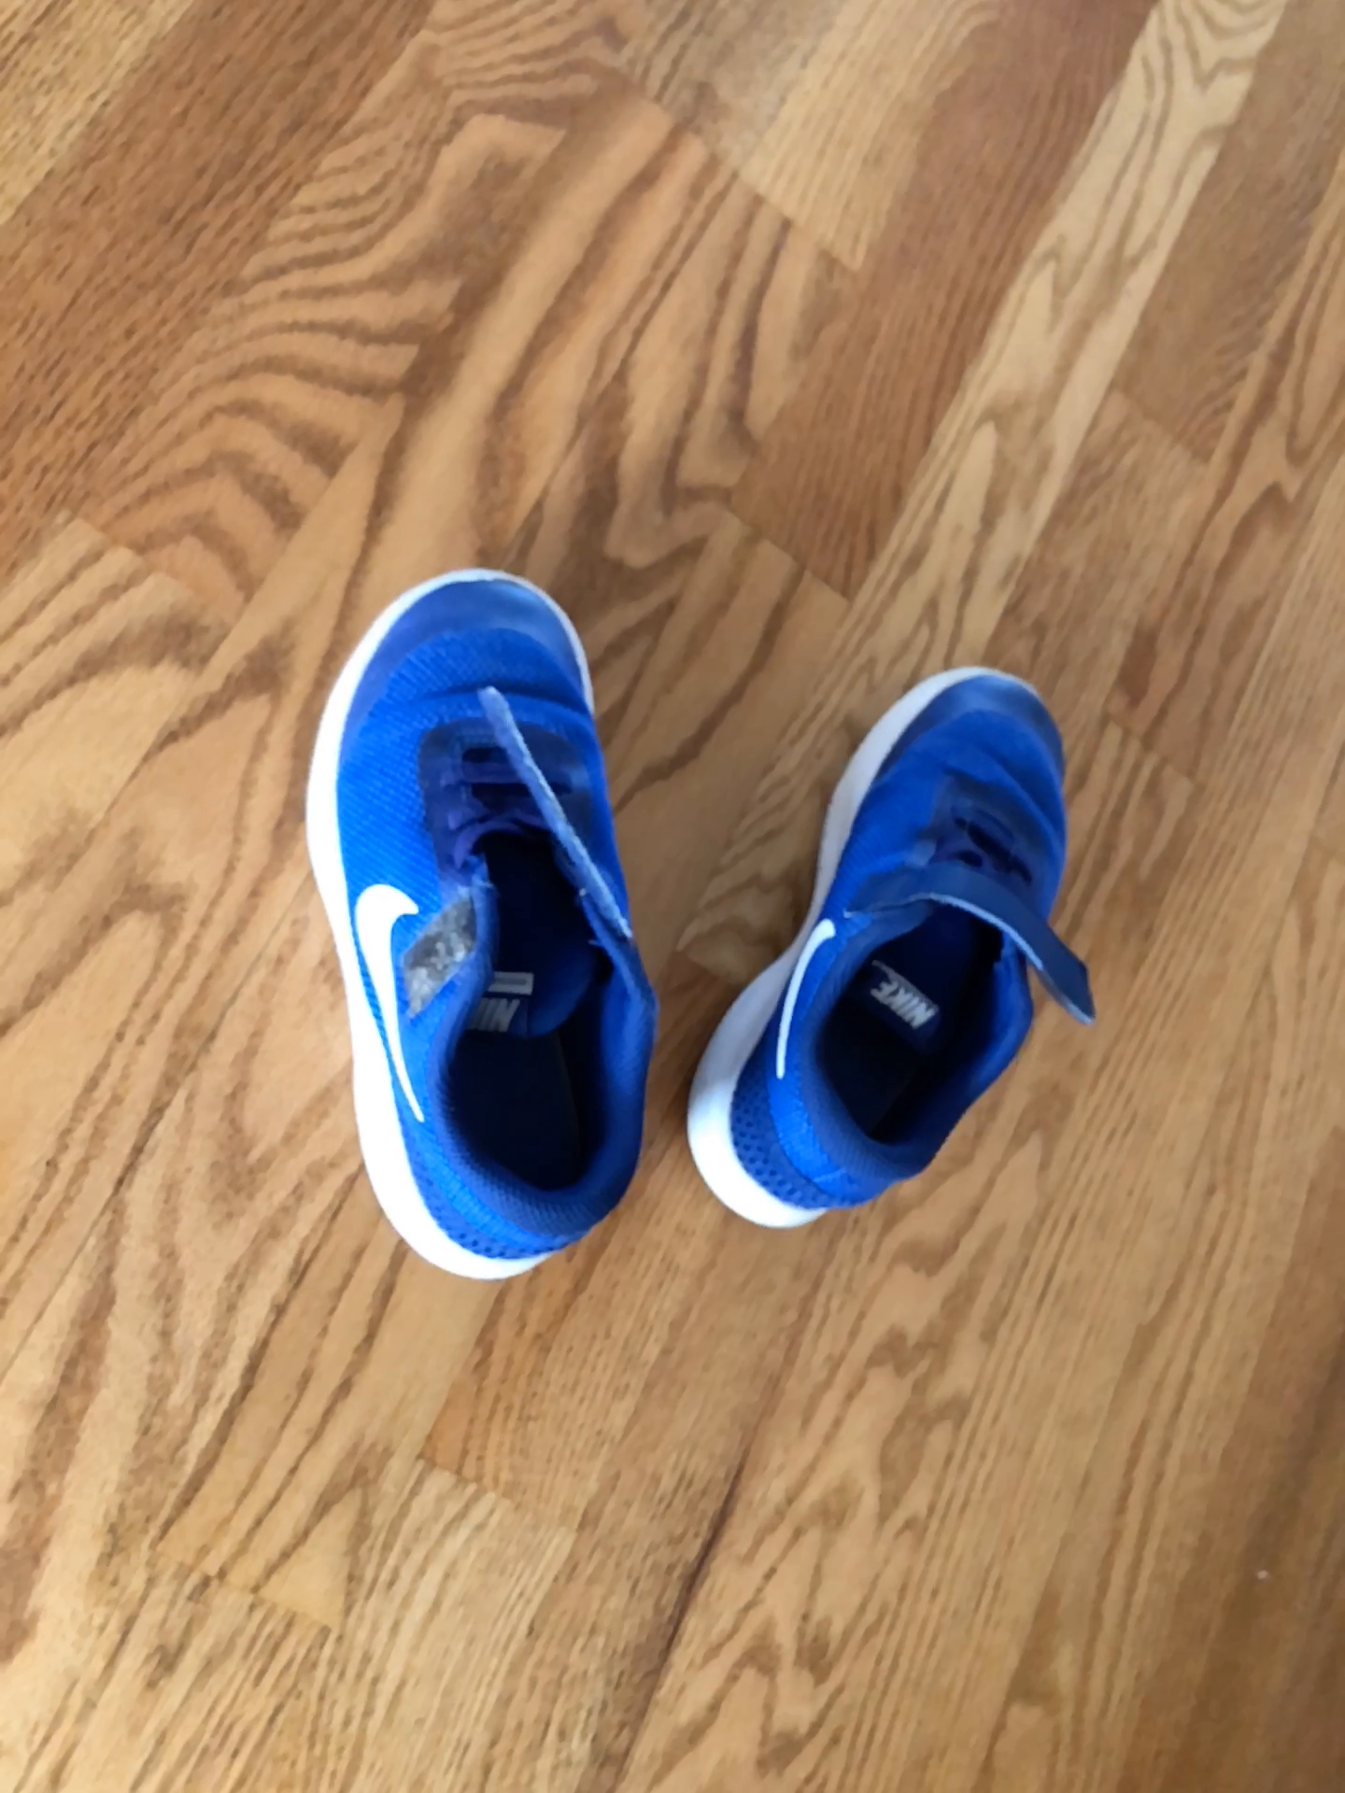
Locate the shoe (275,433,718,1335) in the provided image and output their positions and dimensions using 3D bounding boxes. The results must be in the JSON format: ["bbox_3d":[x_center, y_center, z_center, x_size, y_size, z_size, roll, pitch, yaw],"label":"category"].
[{"bbox_3d":[-0.052,0.001,0.411,0.093,0.092,0.214,3,80,-24],"label":"shoe"}]

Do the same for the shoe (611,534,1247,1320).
[{"bbox_3d":[0.084,0.010,0.477,0.093,0.092,0.214,34,70,-16],"label":"shoe"}]
